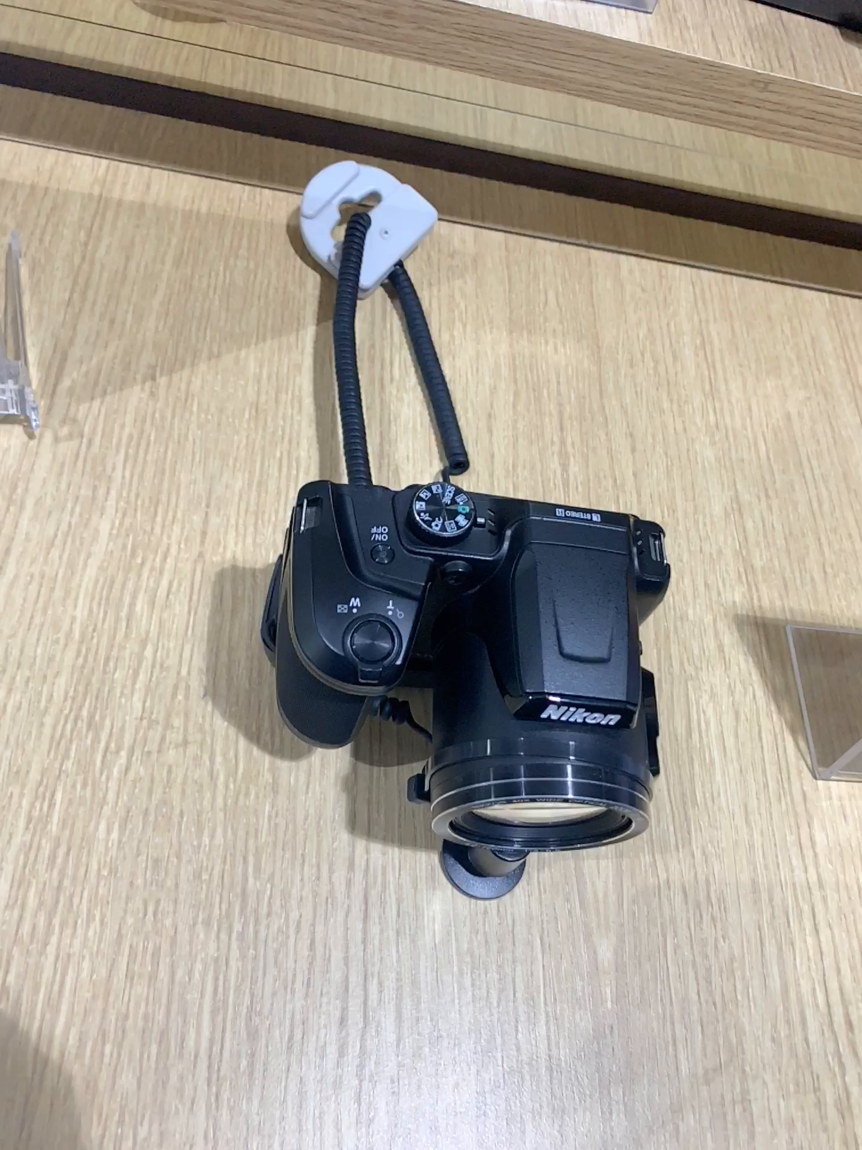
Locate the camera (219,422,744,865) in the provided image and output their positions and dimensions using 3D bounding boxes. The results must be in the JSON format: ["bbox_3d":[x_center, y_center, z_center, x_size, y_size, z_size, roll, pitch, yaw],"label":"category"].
[{"bbox_3d":[0.007,0.025,0.254,0.120,0.080,0.090,7,61,-11],"label":"camera"}]
